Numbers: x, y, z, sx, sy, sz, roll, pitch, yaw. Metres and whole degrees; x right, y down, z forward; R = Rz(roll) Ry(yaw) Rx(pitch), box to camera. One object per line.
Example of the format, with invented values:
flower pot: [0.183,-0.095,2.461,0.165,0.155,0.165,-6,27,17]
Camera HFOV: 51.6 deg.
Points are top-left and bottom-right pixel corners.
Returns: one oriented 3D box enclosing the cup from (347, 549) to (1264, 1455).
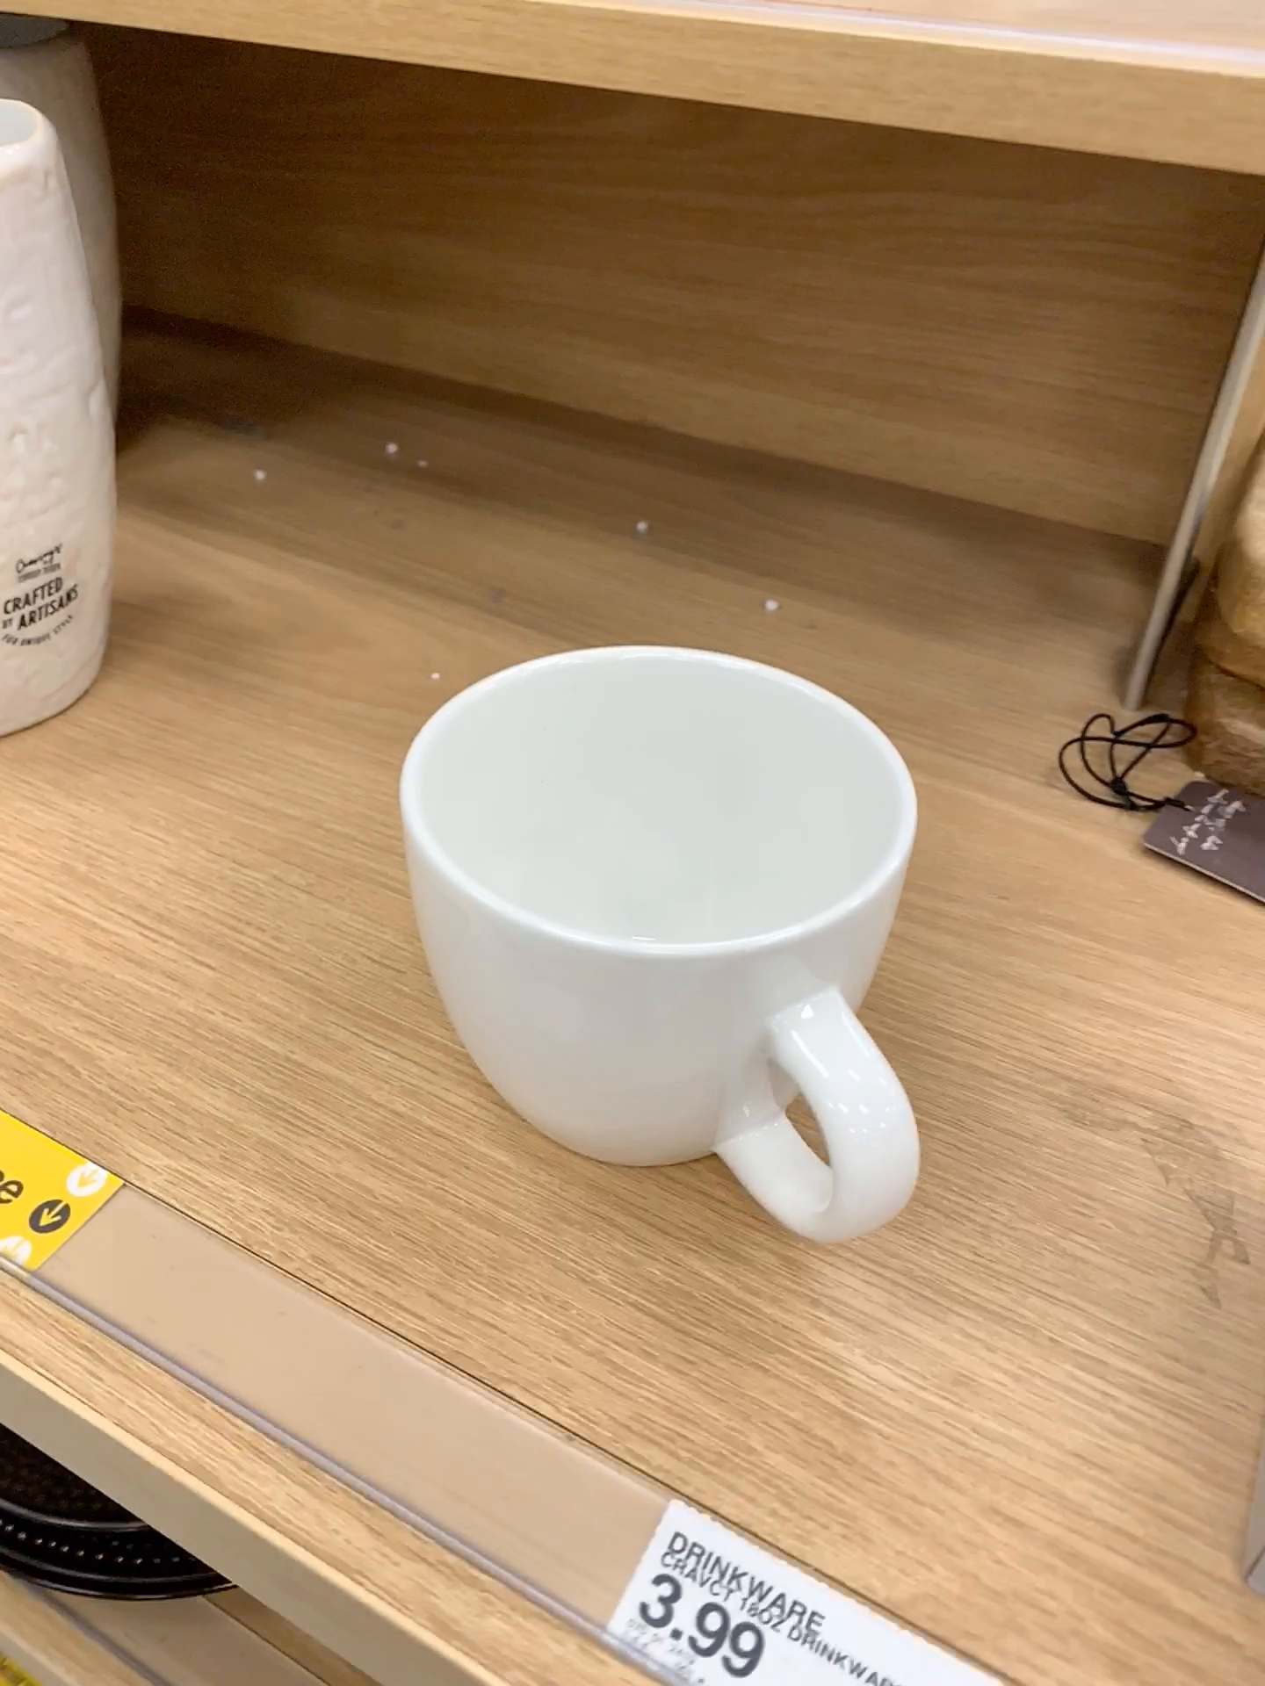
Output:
cup: [0.025,0.017,0.265,0.110,0.080,0.141,-20,44,-26]
